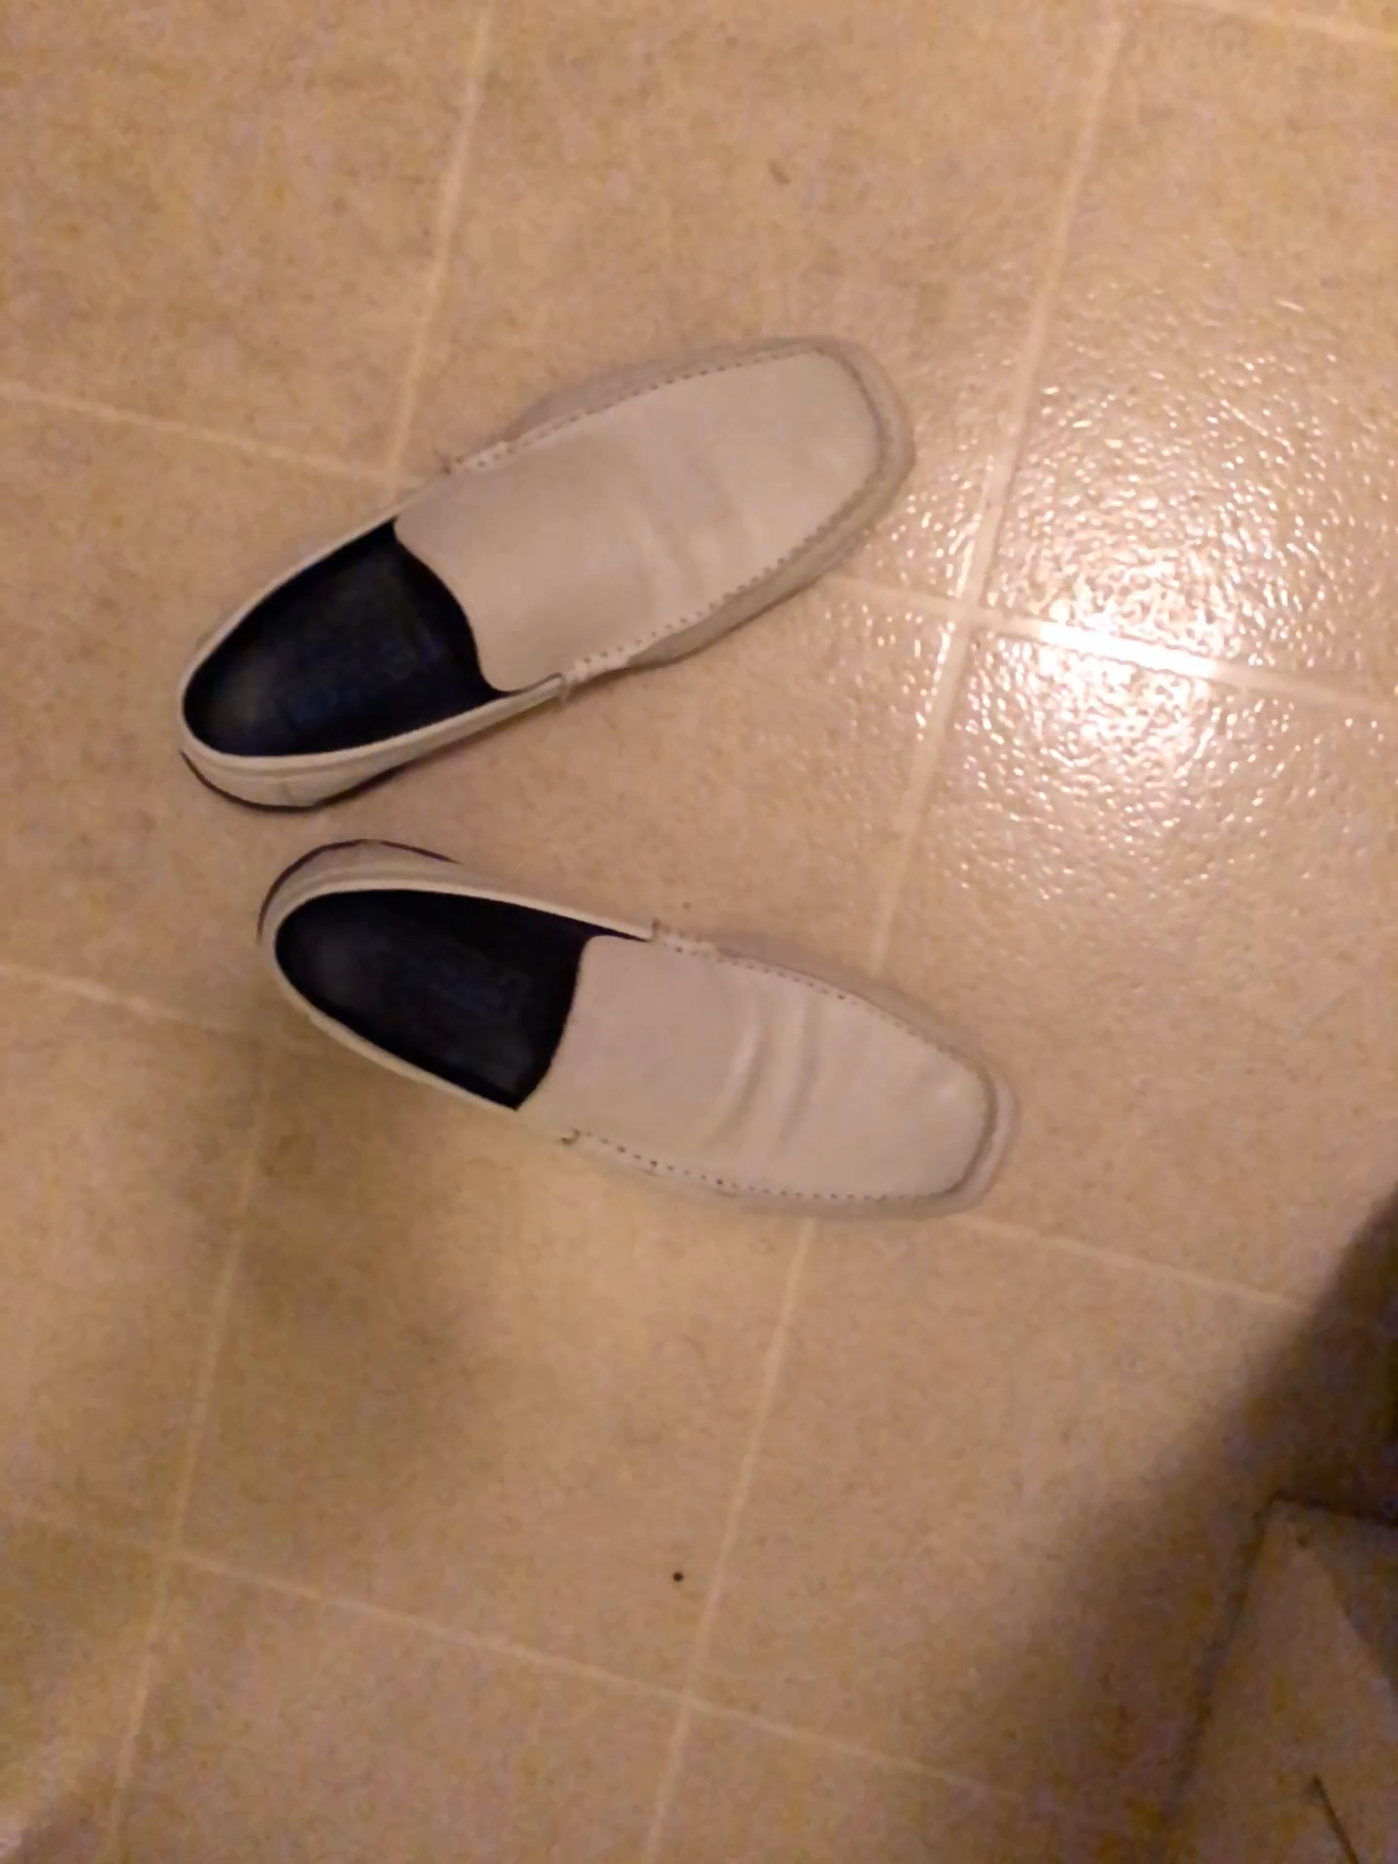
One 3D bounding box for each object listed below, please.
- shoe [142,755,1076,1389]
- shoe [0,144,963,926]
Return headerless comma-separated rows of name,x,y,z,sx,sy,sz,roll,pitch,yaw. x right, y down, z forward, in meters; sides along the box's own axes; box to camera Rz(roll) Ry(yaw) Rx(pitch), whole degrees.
shoe,-0.029,0.041,0.553,0.289,0.097,0.110,21,97,3
shoe,-0.074,-0.126,0.541,0.306,0.097,0.110,-28,92,8
